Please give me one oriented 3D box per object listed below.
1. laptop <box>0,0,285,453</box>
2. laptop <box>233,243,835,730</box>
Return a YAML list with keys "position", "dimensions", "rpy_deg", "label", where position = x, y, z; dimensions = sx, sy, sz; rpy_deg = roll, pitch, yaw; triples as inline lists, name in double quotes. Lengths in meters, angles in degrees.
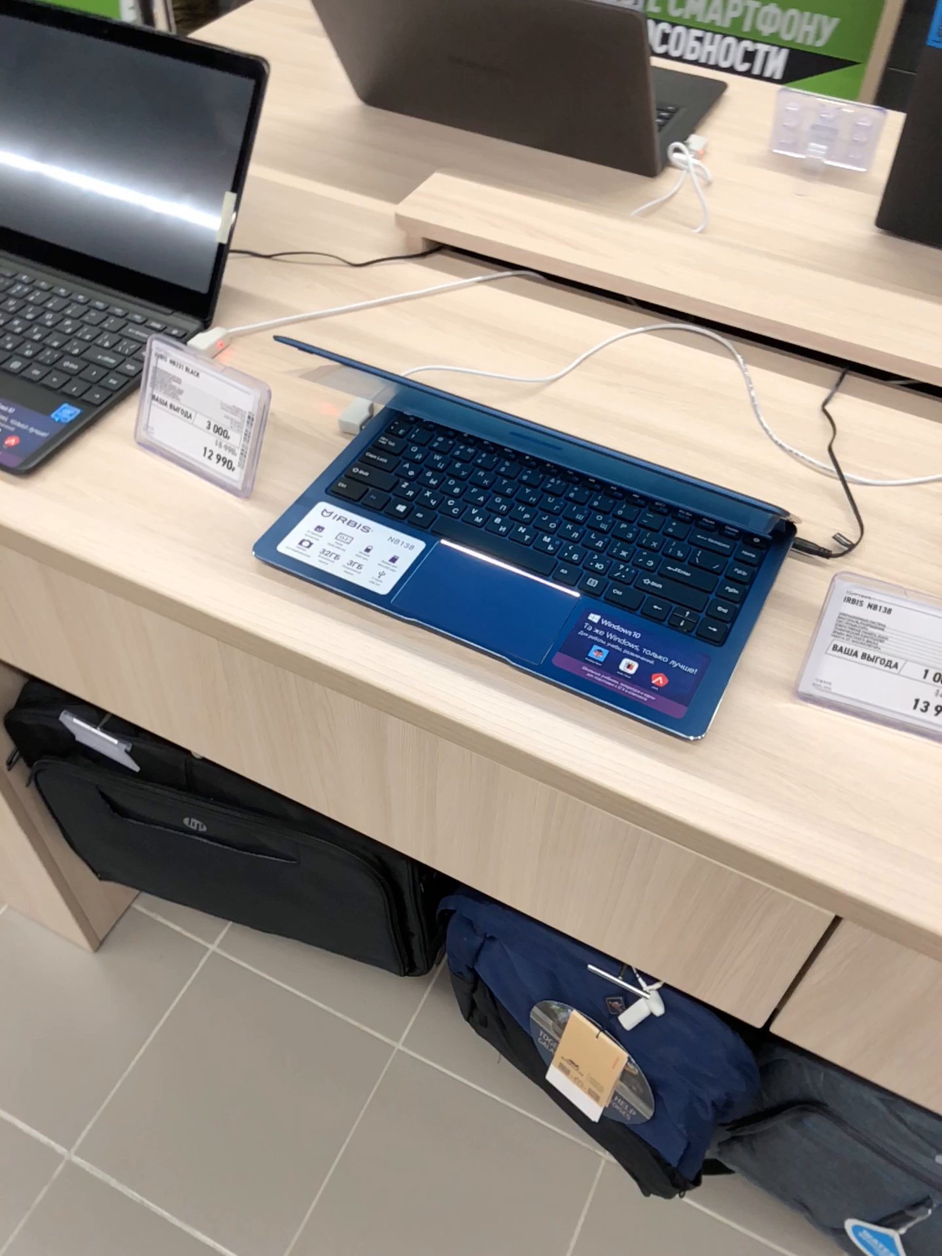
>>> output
- position: [-0.379, -0.337, 0.815]
  dimensions: [0.294, 0.165, 0.324]
  rpy_deg: [23, 52, 17]
  label: "laptop"
- position: [0.038, -0.103, 0.664]
  dimensions: [0.308, 0.124, 0.189]
  rpy_deg: [23, 54, 18]
  label: "laptop"
